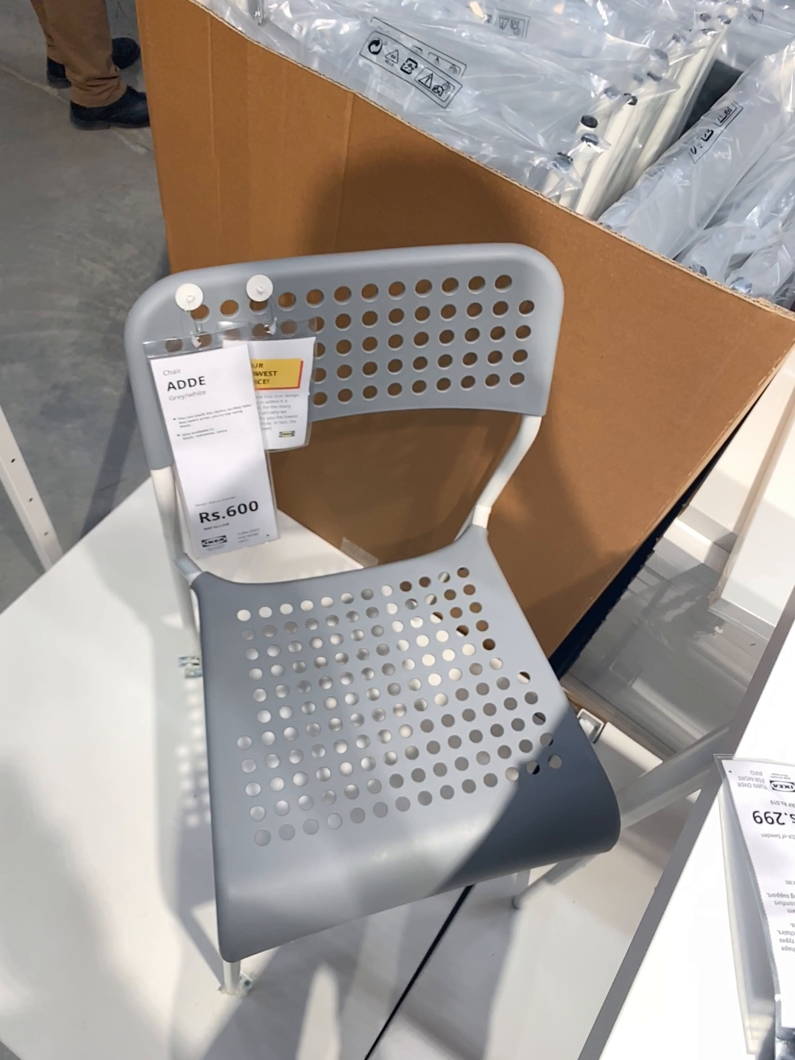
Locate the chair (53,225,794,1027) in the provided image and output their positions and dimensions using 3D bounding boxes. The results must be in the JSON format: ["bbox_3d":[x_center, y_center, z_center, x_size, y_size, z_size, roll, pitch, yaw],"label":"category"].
[{"bbox_3d":[-0.018,0.154,0.840,0.460,0.689,0.501,-9,61,-14],"label":"chair"}]
